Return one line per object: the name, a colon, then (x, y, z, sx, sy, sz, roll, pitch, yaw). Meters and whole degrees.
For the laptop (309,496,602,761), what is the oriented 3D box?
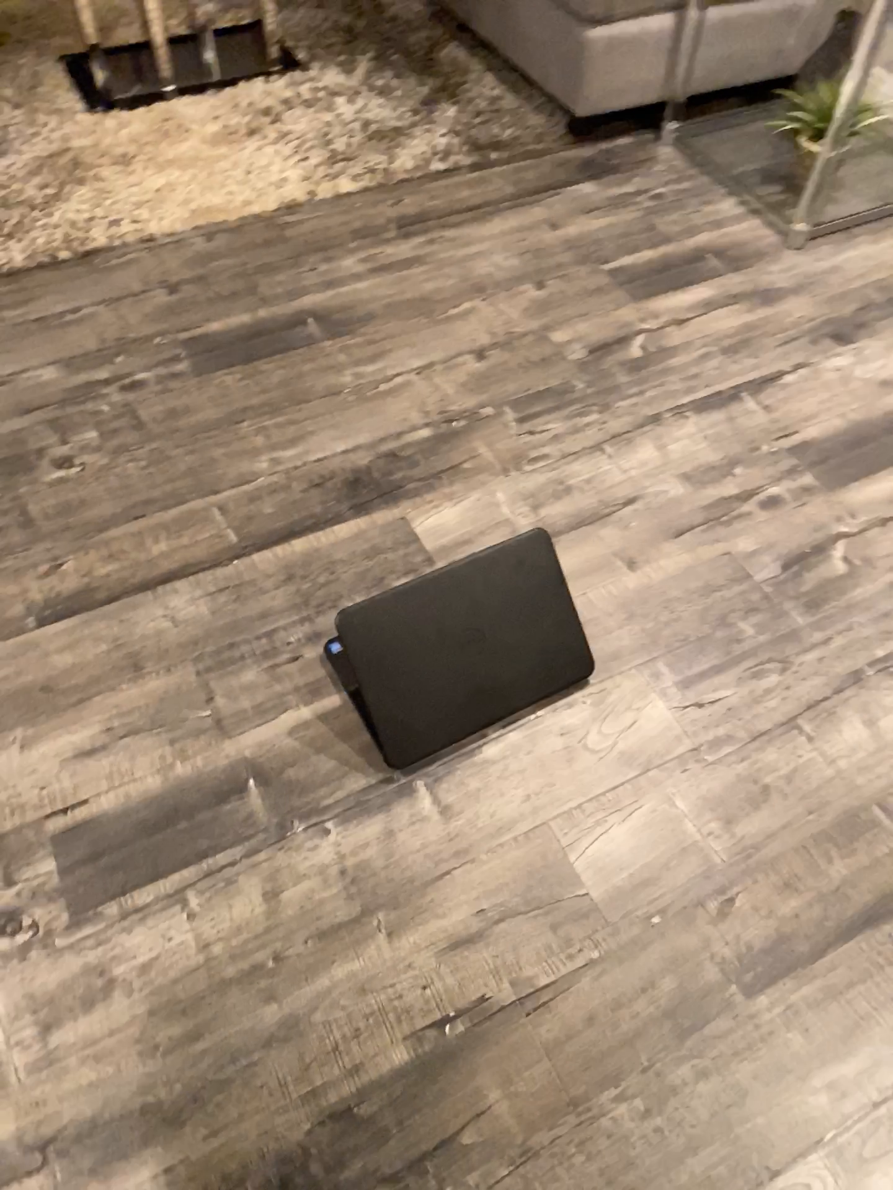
laptop: (0.011, 0.045, 1.390, 0.353, 0.170, 0.231, -24, 59, -18)
